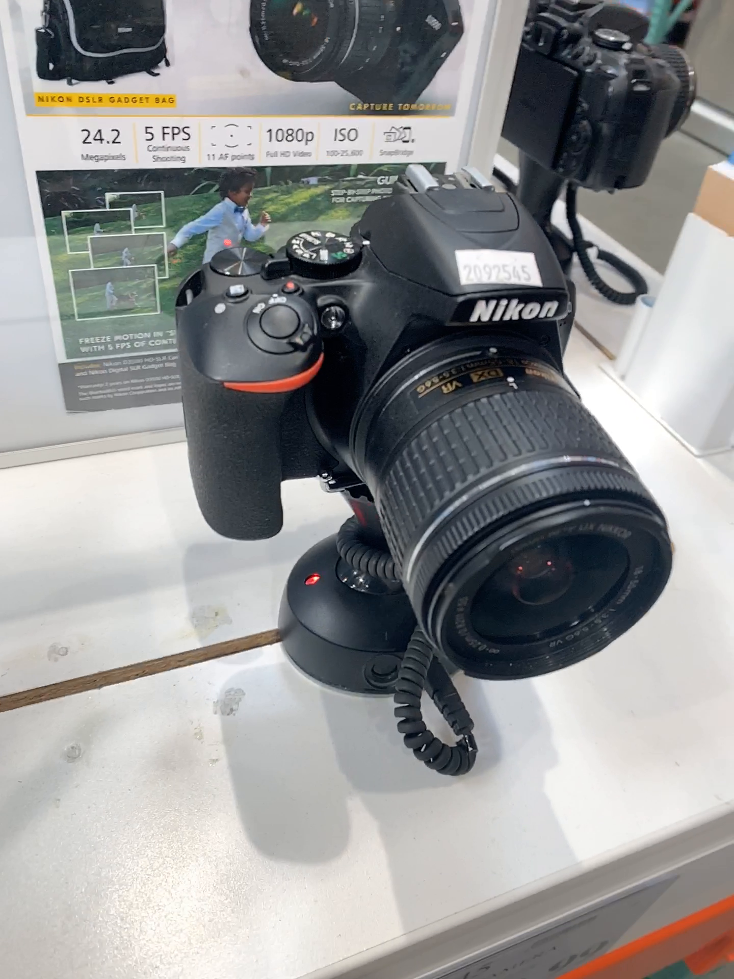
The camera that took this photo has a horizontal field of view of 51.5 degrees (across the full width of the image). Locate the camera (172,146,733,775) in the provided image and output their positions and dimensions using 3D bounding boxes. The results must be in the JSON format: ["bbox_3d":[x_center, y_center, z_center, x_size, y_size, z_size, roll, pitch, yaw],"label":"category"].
[{"bbox_3d":[0.019,-0.019,0.201,0.116,0.099,0.121,-8,43,-17],"label":"camera"}]
